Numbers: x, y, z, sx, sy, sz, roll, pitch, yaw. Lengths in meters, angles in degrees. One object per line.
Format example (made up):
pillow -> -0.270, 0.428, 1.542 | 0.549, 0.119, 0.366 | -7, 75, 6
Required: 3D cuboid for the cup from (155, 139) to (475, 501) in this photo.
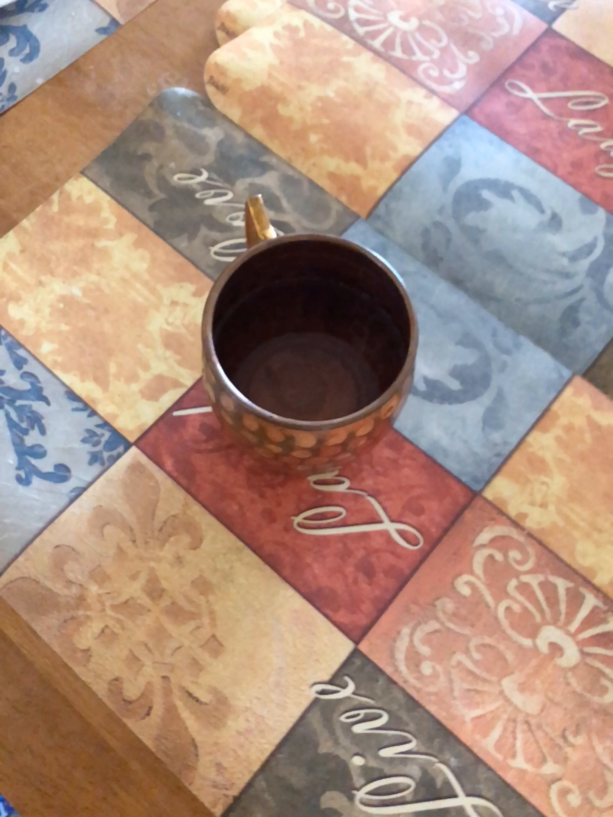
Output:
cup -> -0.001, -0.036, 0.317 | 0.100, 0.090, 0.120 | -14, 72, -6
